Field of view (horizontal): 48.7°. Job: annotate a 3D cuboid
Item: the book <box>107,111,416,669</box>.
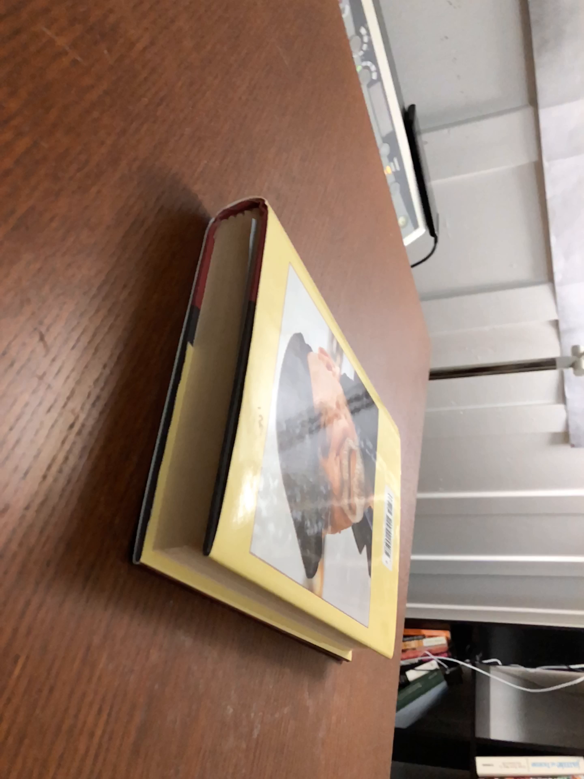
[{"bbox_3d":[0.017,0.025,0.336,0.251,0.030,0.190,51,40,-52],"label":"book"}]
